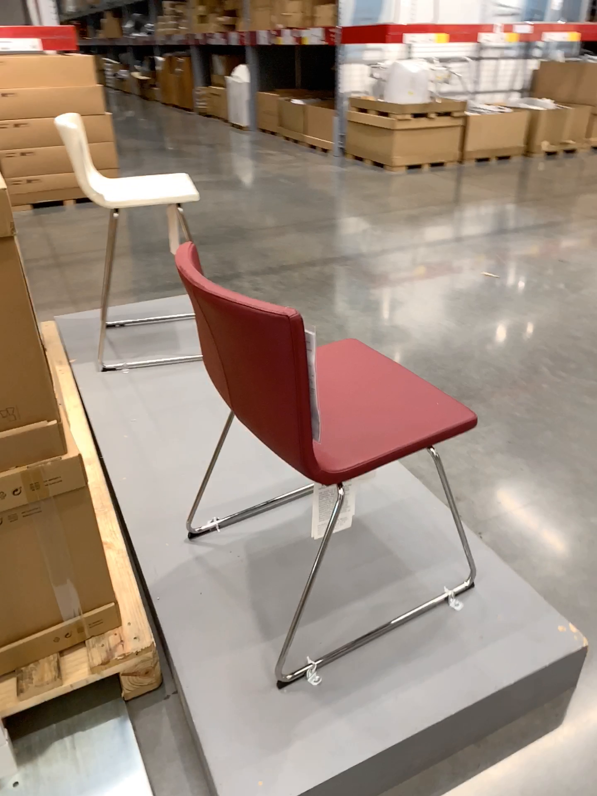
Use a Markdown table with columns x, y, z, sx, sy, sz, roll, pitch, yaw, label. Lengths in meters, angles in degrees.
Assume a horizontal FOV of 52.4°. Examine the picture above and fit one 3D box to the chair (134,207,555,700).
| x | y | z | sx | sy | sz | roll | pitch | yaw | label |
| --- | --- | --- | --- | --- | --- | --- | --- | --- | --- |
| 0.060 | 0.060 | 1.268 | 0.551 | 0.726 | 0.533 | -17 | 34 | -26 | chair |
